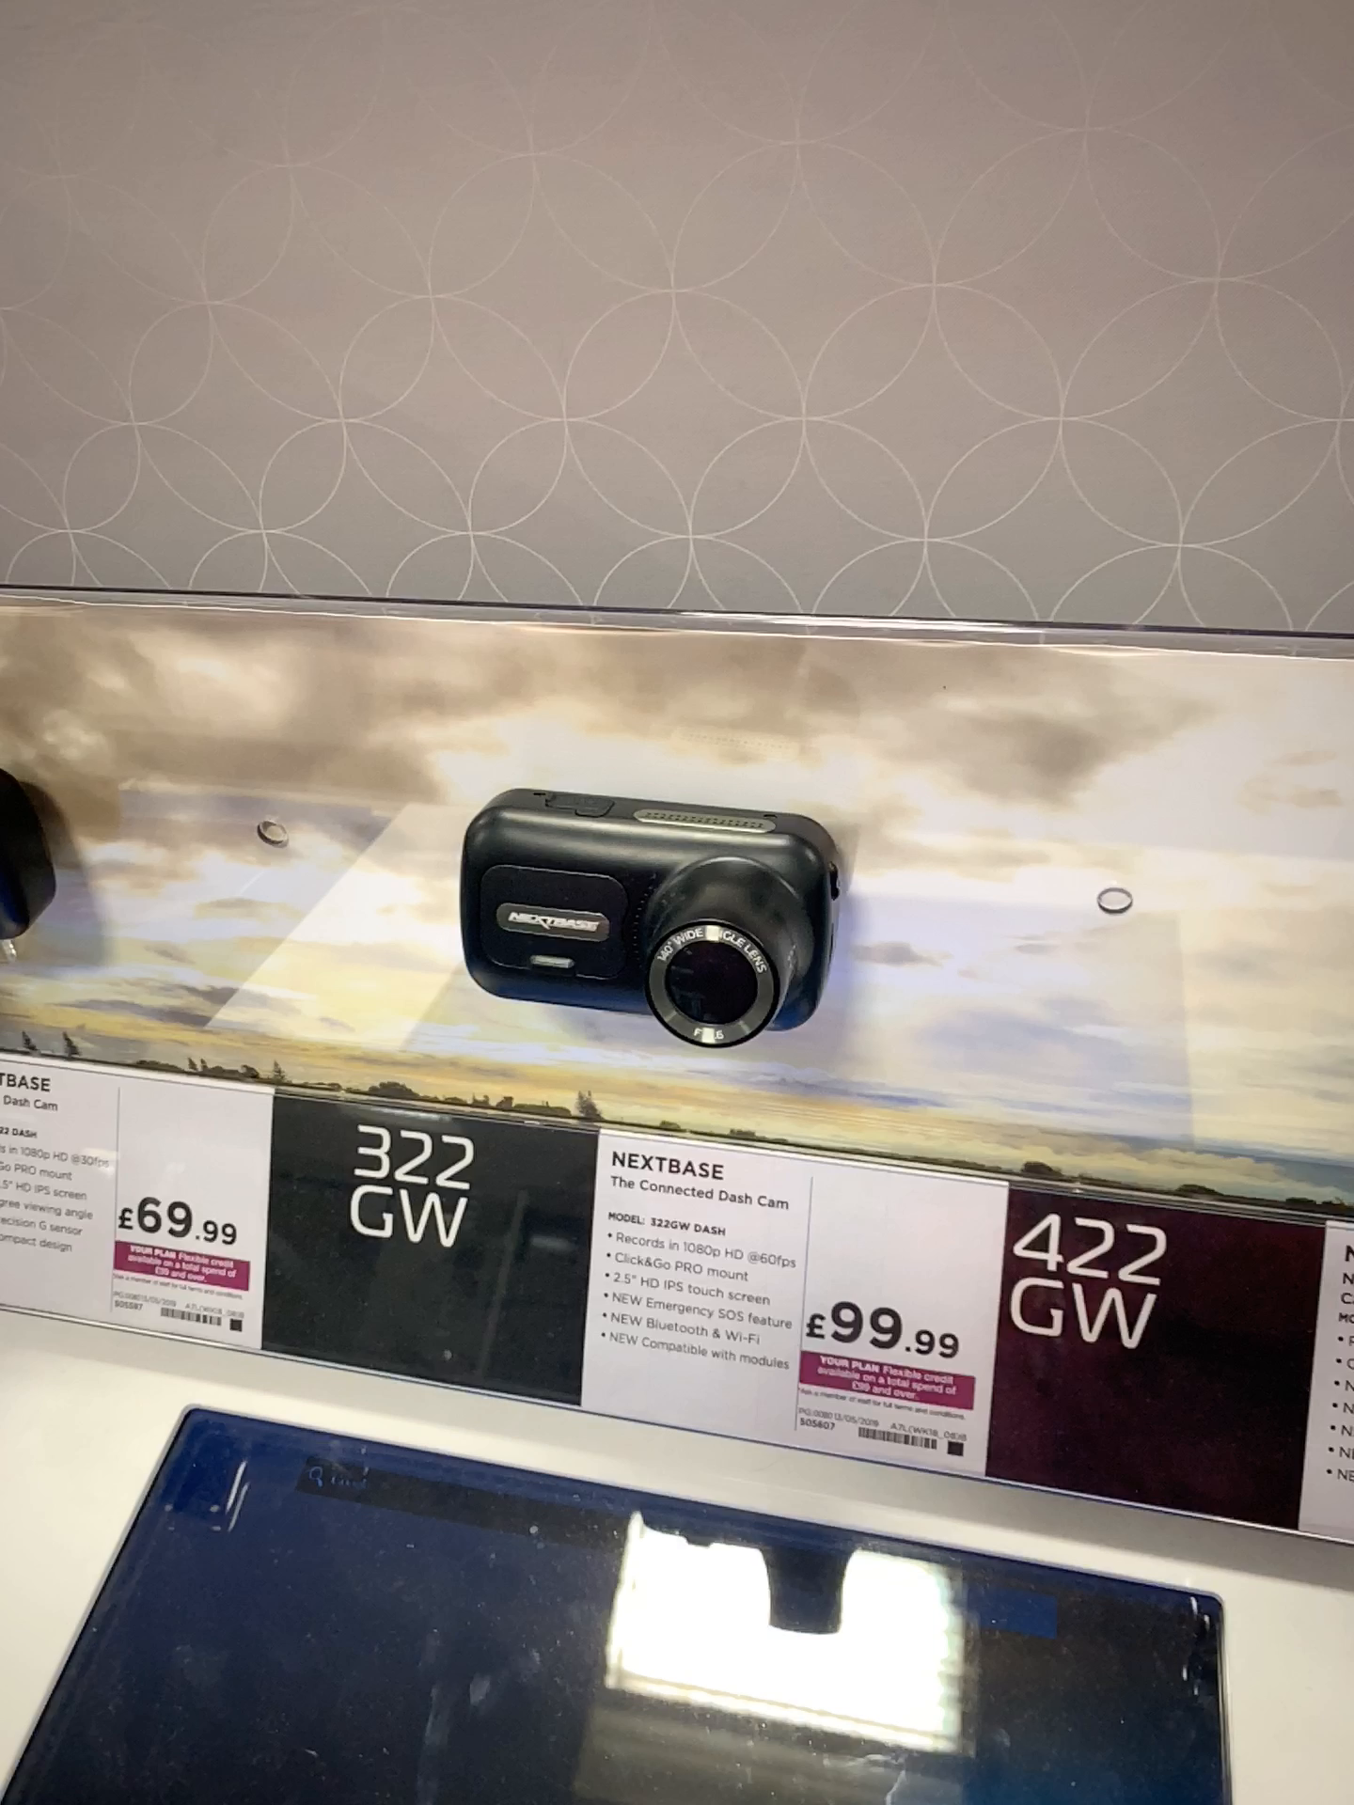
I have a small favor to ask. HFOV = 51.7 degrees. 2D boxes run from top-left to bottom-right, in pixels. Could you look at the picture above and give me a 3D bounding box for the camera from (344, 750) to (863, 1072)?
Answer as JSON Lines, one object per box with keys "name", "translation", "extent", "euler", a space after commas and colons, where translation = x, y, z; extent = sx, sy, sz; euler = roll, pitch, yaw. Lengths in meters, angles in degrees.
{"name": "camera", "translation": [-0.012, -0.003, 0.298], "extent": [0.090, 0.040, 0.070], "euler": [6, 19, 16]}
